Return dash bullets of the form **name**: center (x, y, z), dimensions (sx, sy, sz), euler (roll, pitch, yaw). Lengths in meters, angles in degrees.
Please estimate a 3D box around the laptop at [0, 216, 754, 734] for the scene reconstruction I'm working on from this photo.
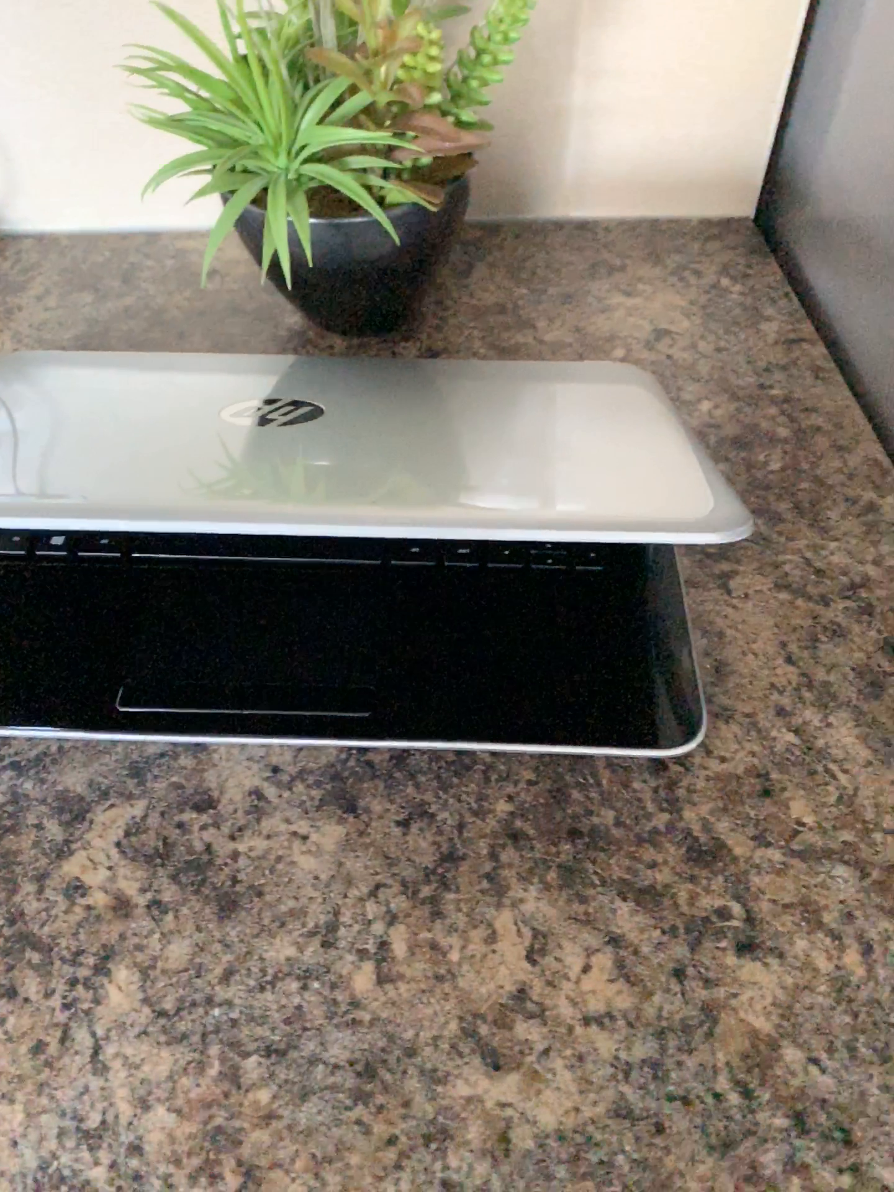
- **laptop**: center (-0.070, -0.060, 0.369), dimensions (0.328, 0.081, 0.208), euler (1, 50, 2)
